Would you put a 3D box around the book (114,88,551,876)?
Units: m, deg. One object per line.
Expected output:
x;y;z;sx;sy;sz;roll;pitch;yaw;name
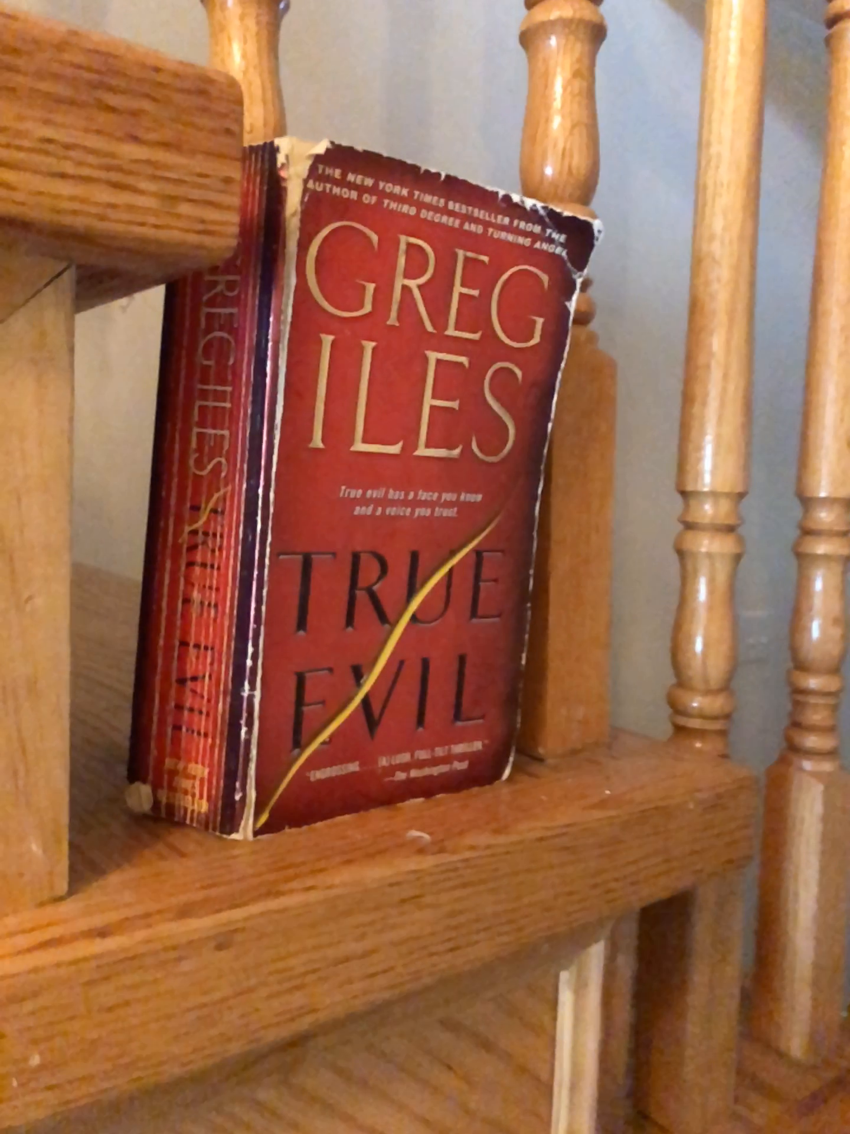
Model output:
-0.030;-0.024;0.311;0.120;0.205;0.068;-2;6;-38;book
